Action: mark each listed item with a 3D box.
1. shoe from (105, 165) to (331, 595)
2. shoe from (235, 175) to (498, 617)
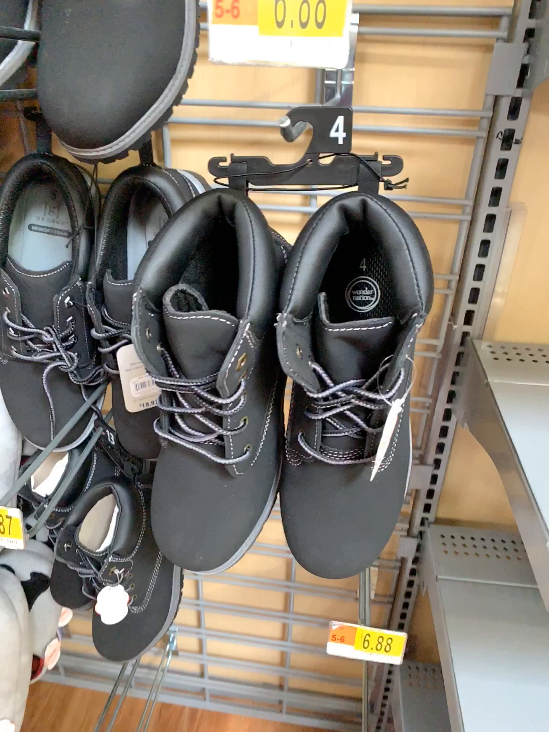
[{"bbox_3d":[-0.032,0.003,0.362,0.100,0.229,0.110,8,13,8],"label":"shoe"},{"bbox_3d":[0.047,0.008,0.327,0.100,0.206,0.120,7,12,8],"label":"shoe"}]
